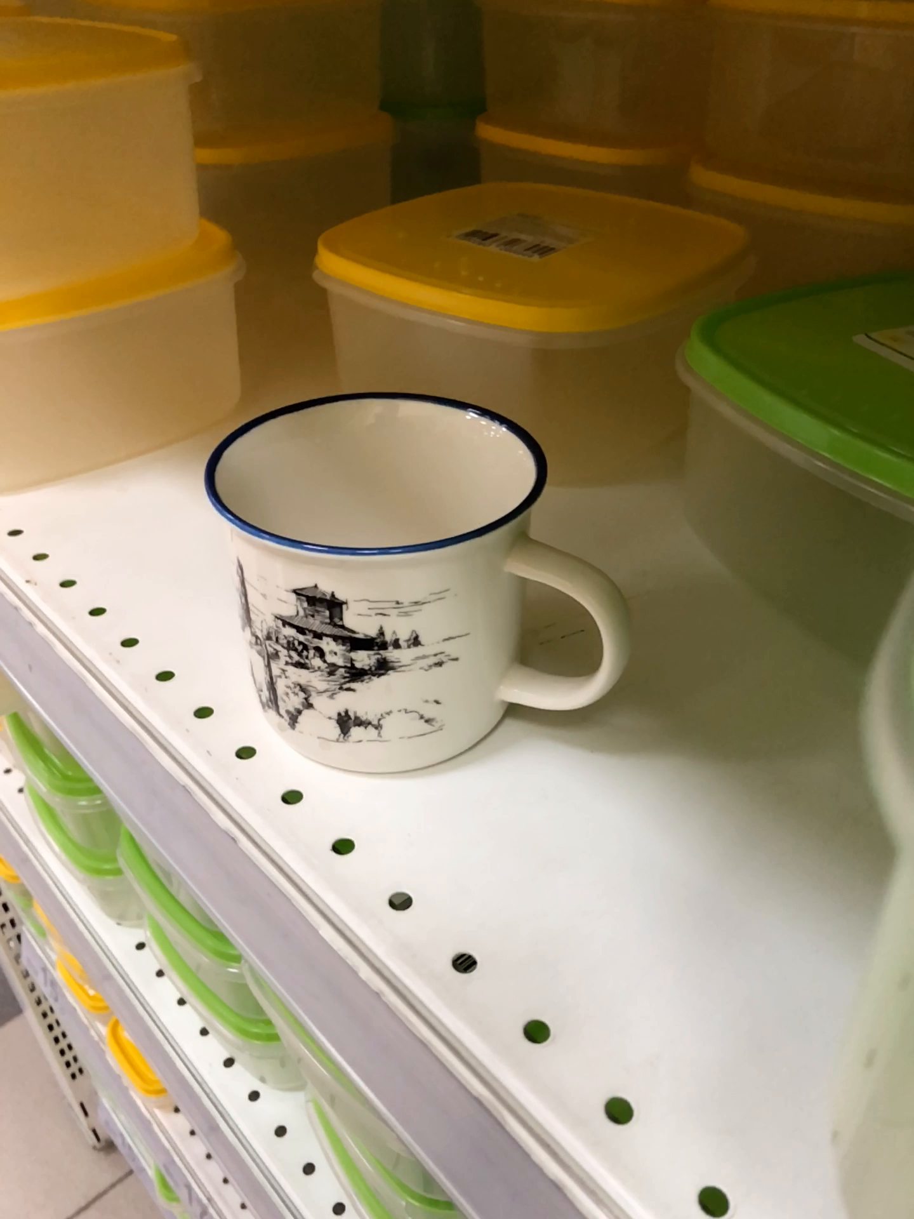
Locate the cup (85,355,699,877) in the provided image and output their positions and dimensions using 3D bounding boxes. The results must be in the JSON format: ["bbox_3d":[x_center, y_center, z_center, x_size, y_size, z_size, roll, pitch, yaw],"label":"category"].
[{"bbox_3d":[-0.017,-0.010,0.292,0.130,0.068,0.103,25,44,32],"label":"cup"}]
